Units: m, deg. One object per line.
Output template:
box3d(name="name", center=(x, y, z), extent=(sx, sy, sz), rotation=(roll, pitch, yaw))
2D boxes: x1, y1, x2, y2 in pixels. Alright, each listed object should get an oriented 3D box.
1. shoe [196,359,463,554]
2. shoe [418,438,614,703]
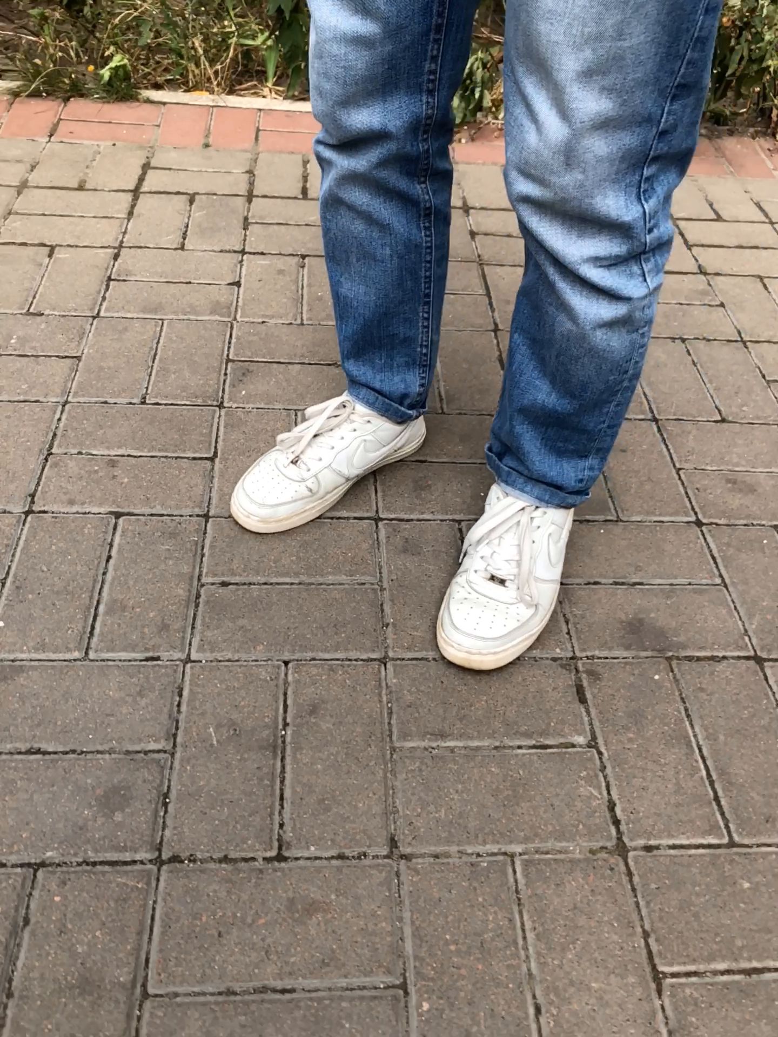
box3d(name="shoe", center=(-0.065, -0.084, 1.023), extent=(0.301, 0.070, 0.120), rotation=(-29, 54, -28))
box3d(name="shoe", center=(0.144, 0.042, 0.920), extent=(0.110, 0.070, 0.302), rotation=(20, 47, 15))
